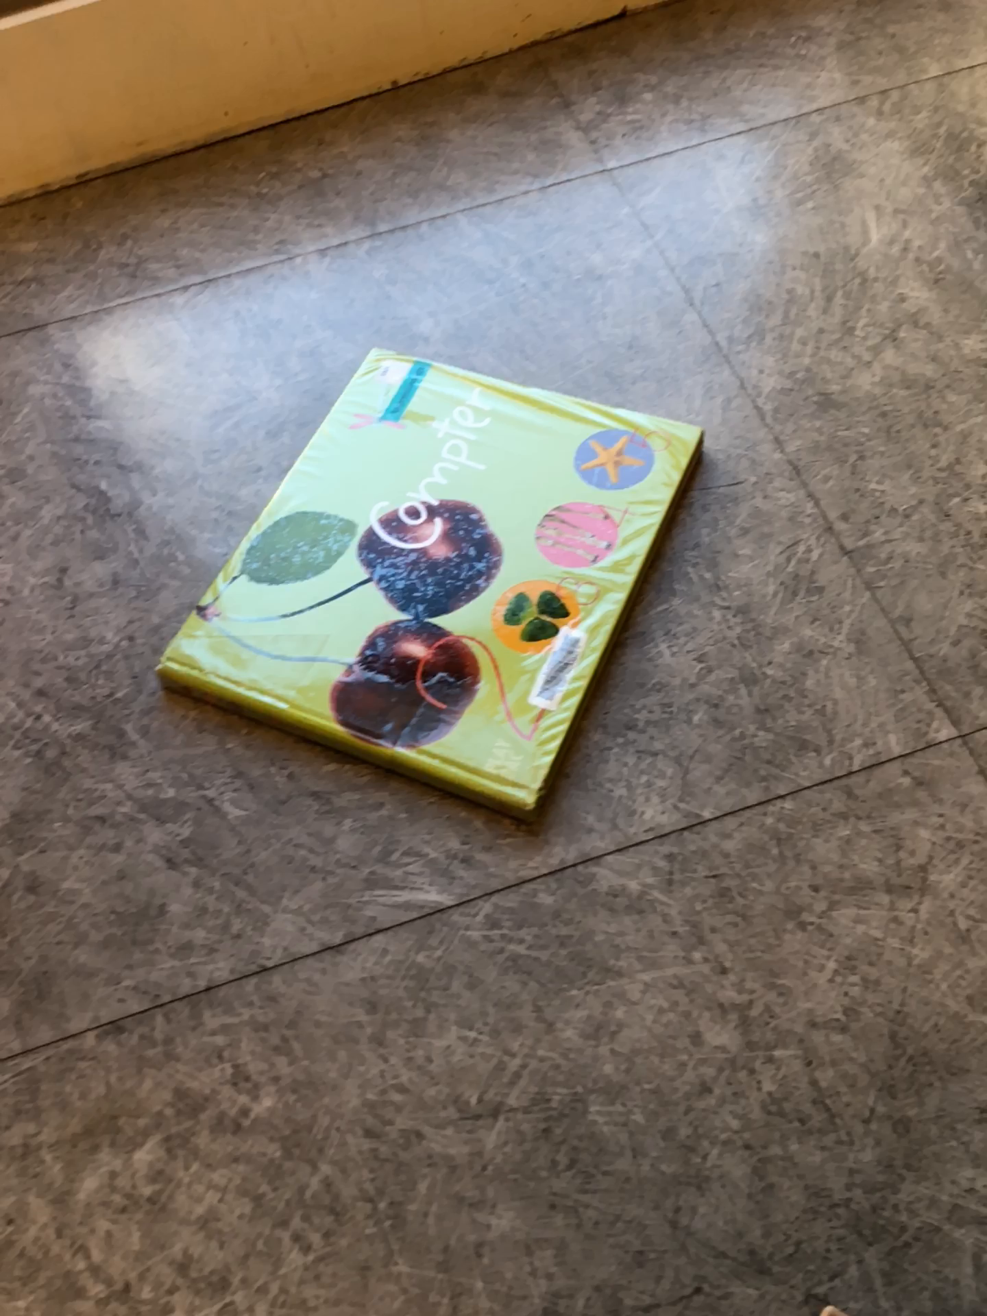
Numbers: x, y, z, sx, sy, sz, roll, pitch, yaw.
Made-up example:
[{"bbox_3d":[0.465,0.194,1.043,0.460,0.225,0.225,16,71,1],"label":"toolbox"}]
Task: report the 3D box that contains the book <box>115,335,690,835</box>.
[{"bbox_3d":[-0.041,-0.058,0.597,0.222,0.021,0.256,19,62,15],"label":"book"}]
